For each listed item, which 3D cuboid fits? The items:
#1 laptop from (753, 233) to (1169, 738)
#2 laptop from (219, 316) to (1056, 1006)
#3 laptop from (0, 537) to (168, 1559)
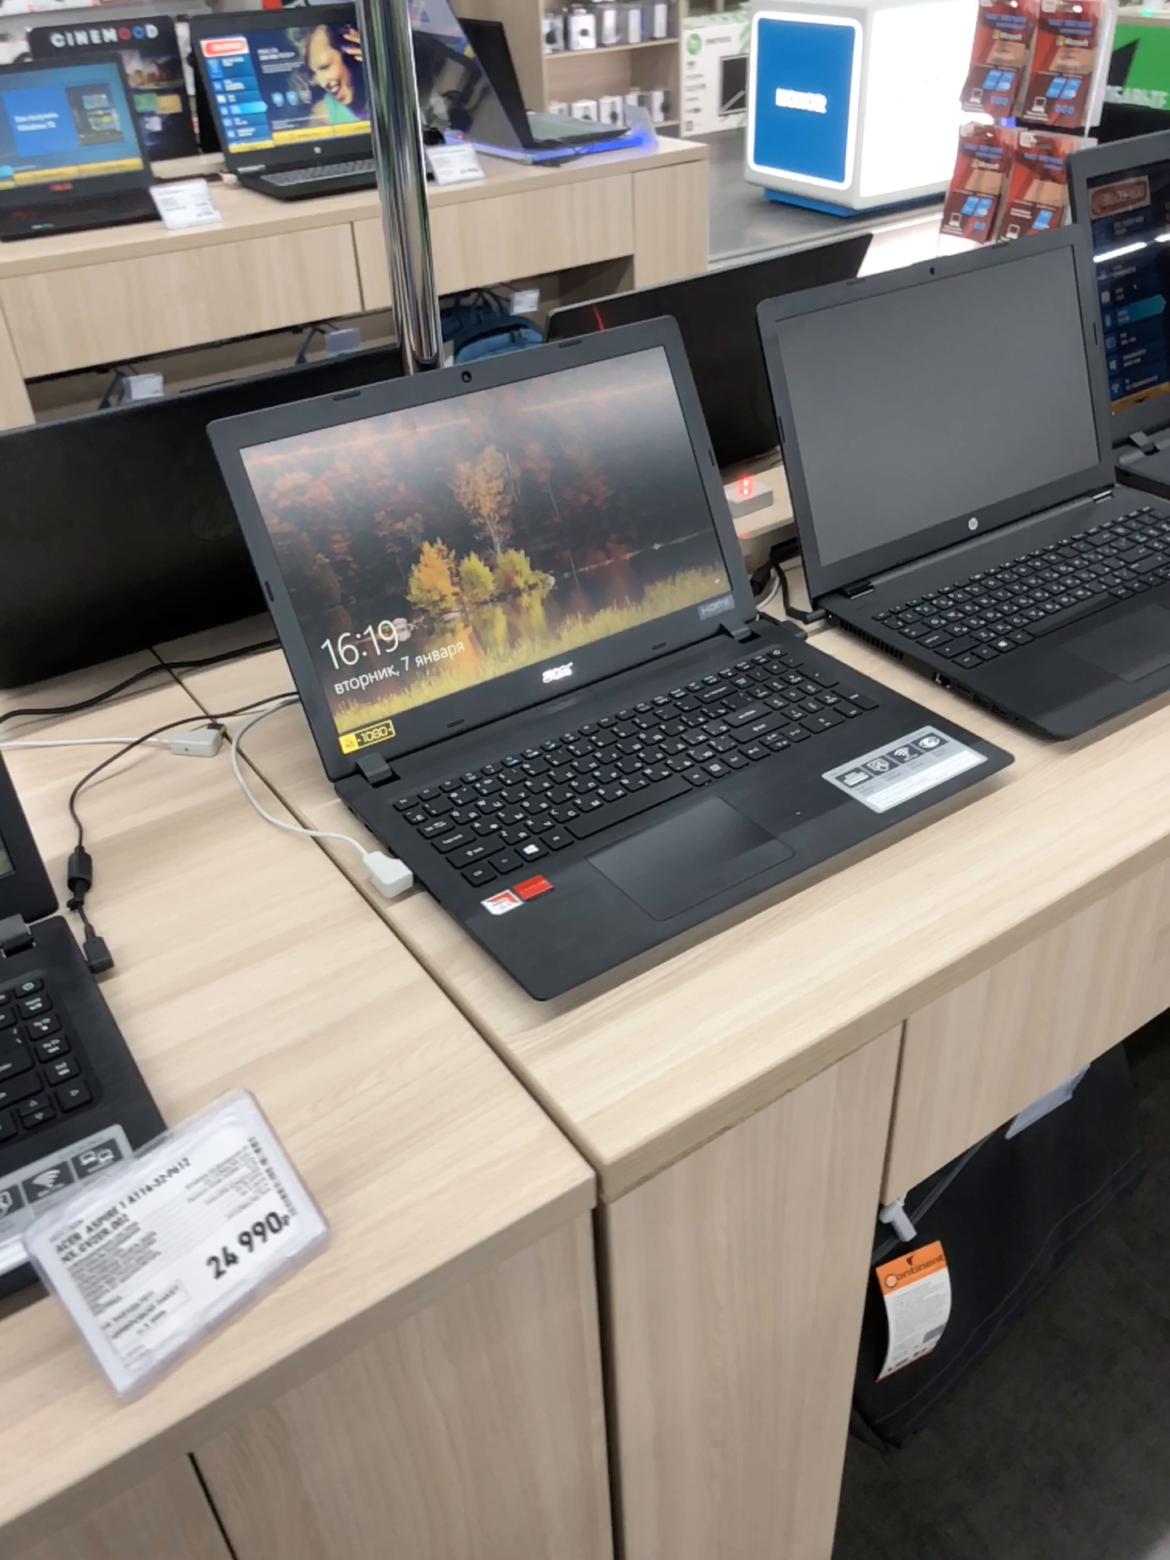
[{"bbox_3d":[0.378,-0.261,1.007,0.378,0.212,0.339,-22,38,-25],"label":"laptop"},{"bbox_3d":[0.023,-0.119,0.835,0.374,0.208,0.368,-23,40,-26],"label":"laptop"},{"bbox_3d":[-0.406,0.083,0.568,0.306,0.214,0.301,-22,40,-26],"label":"laptop"}]
